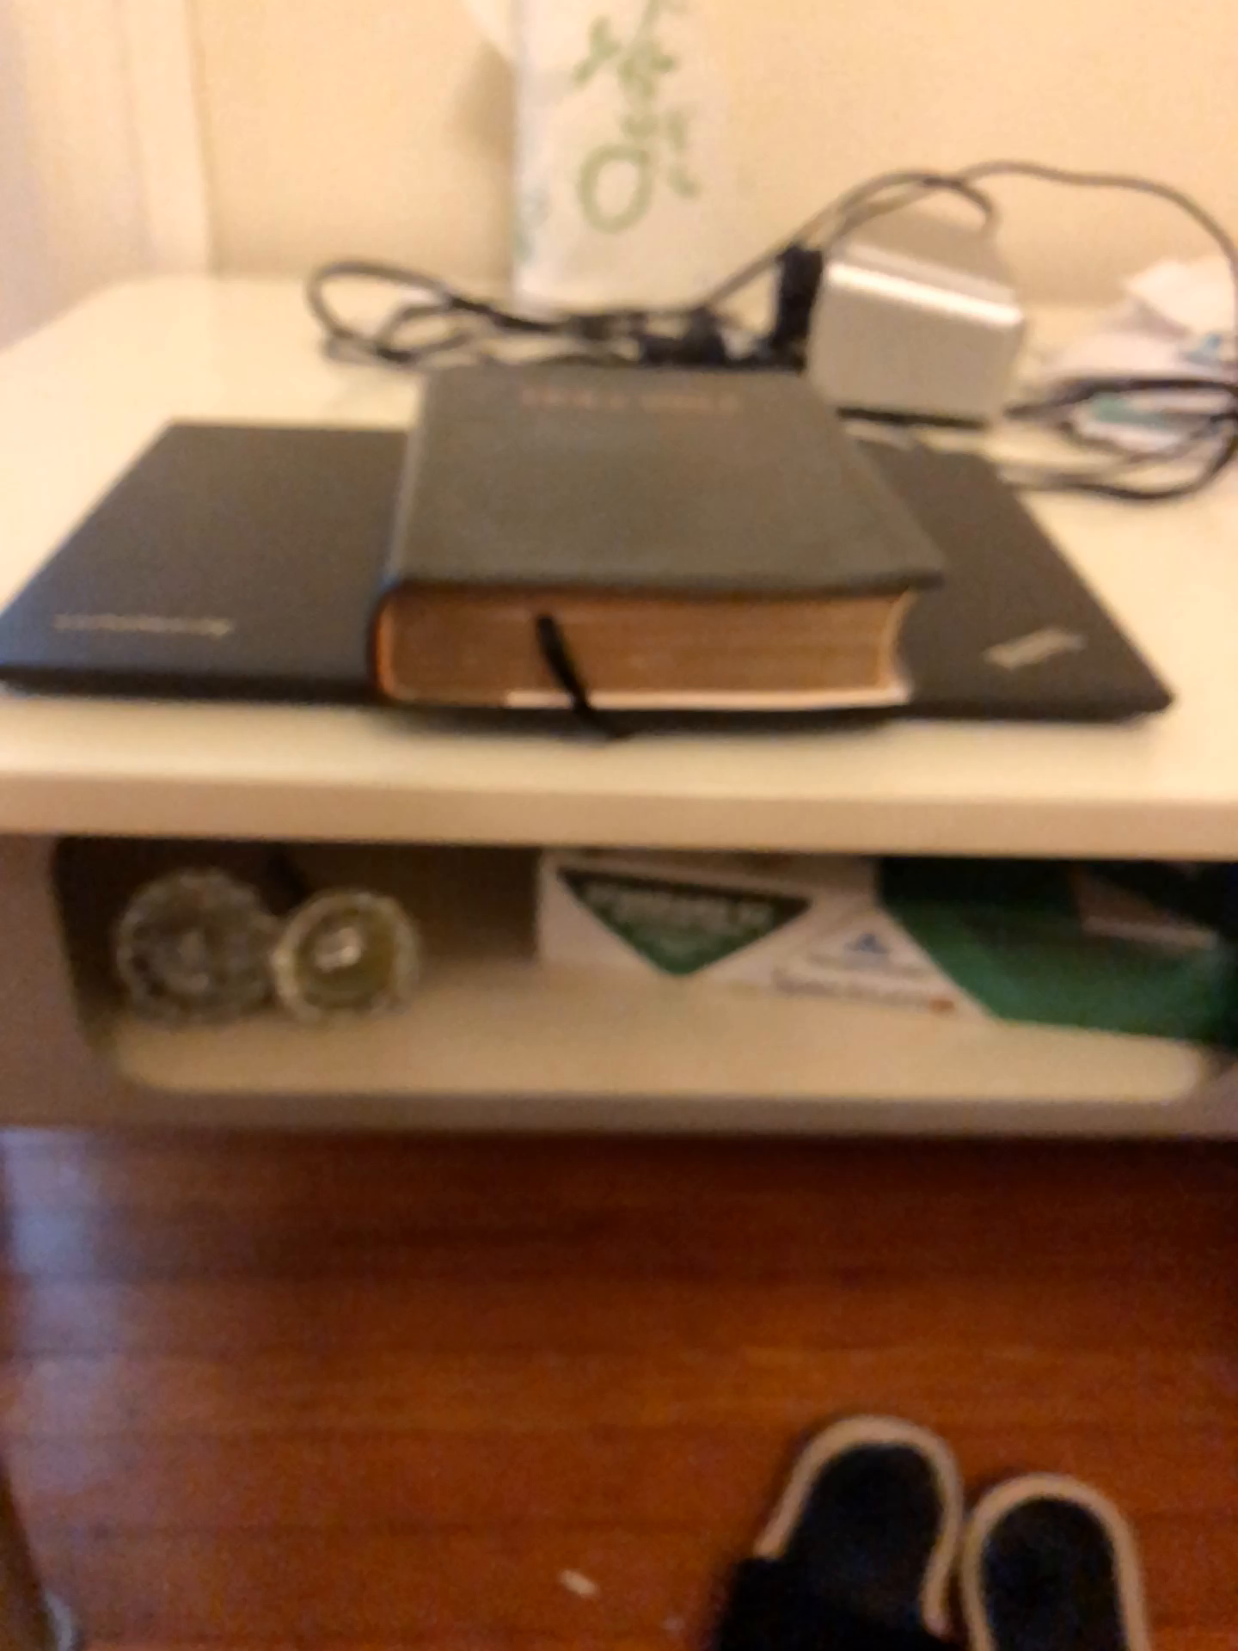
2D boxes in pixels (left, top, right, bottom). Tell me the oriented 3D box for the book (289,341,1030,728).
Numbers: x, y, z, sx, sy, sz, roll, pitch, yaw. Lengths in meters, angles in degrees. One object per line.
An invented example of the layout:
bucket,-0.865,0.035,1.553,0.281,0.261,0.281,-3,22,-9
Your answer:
book,0.004,-0.102,0.435,0.170,0.040,0.241,0,30,-4
